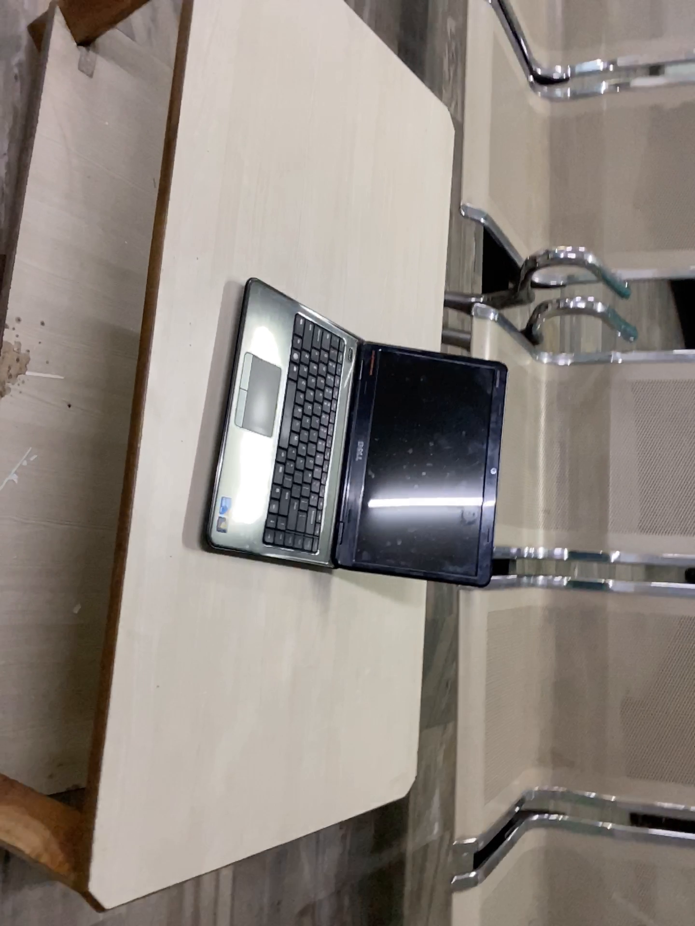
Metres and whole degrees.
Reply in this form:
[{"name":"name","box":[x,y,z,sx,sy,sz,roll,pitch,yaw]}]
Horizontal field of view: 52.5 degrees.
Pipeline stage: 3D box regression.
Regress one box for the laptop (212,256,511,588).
[{"name":"laptop","box":[0.045,-0.023,0.930,0.380,0.152,0.328,19,74,-49]}]
